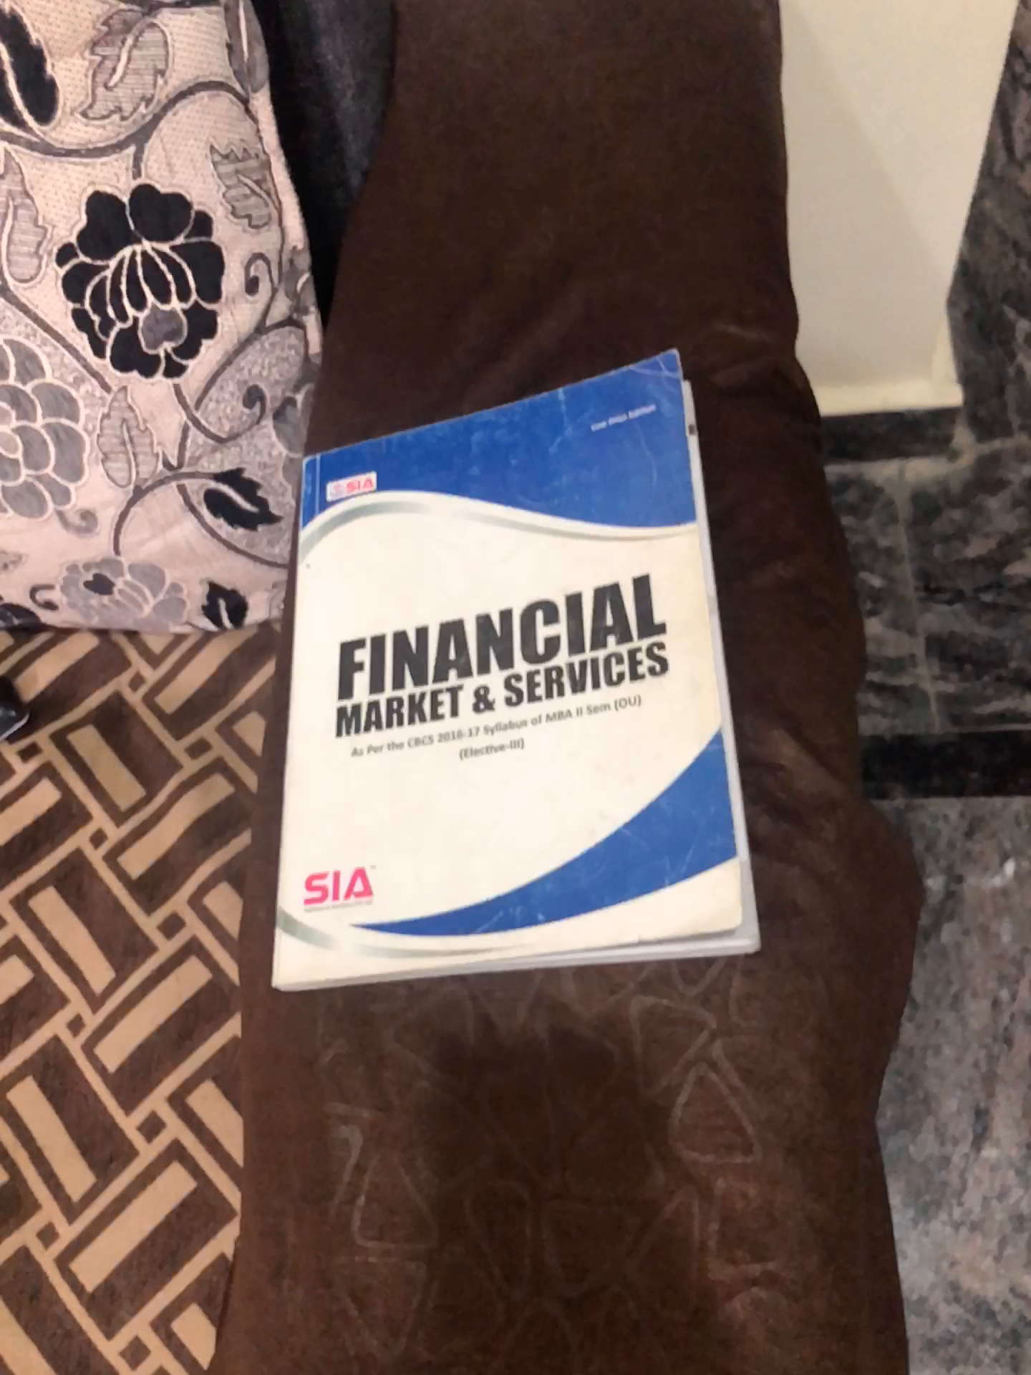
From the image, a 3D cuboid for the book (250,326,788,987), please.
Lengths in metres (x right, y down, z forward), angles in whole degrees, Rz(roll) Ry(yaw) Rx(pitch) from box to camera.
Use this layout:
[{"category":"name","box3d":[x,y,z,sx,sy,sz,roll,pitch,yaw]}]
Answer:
[{"category":"book","box3d":[-0.007,-0.024,0.544,0.220,0.040,0.300,-8,63,8]}]
